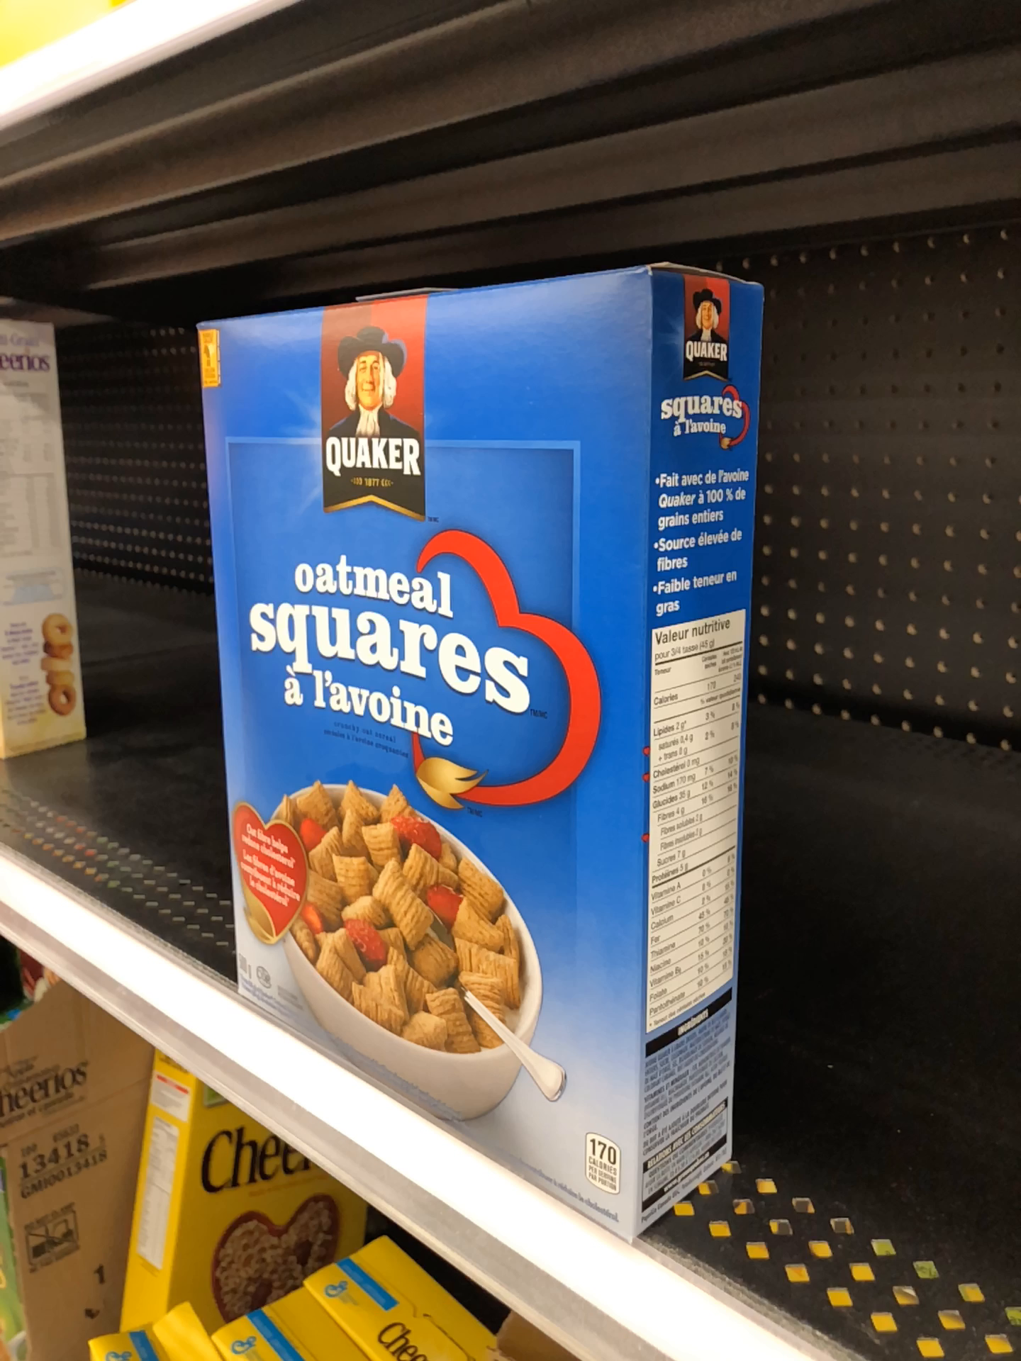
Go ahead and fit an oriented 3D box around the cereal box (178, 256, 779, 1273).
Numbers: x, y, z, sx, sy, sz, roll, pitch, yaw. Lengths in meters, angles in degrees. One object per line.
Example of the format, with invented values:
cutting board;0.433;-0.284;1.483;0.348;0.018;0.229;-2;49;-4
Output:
cereal box;-0.022;0.014;0.389;0.211;0.279;0.060;12;18;43
